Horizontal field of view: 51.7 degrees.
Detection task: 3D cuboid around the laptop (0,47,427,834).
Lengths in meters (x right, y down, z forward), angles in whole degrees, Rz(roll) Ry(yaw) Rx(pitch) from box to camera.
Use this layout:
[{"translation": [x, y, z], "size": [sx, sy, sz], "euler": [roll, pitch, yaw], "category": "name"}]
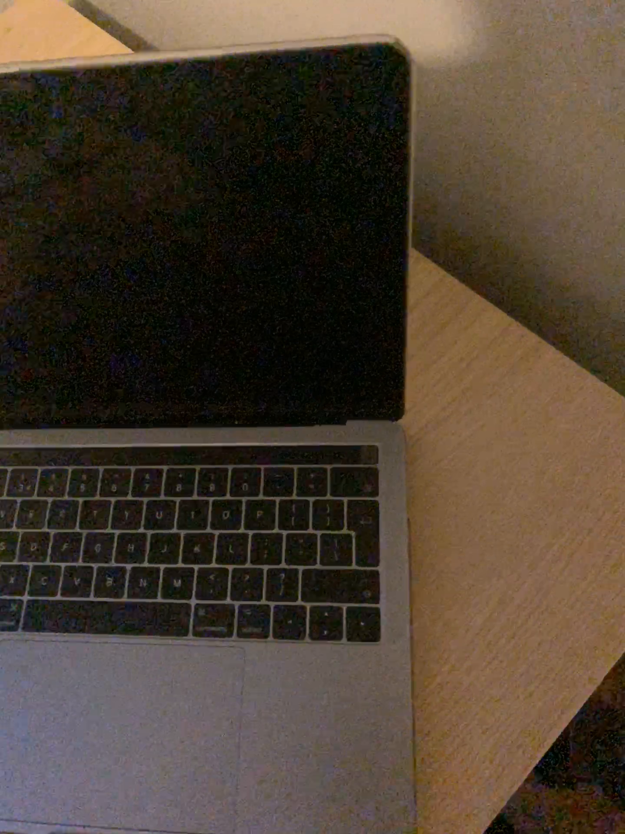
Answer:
[{"translation": [-0.109, 0.044, 0.262], "size": [0.294, 0.198, 0.257], "euler": [-1, 69, 8], "category": "laptop"}]
